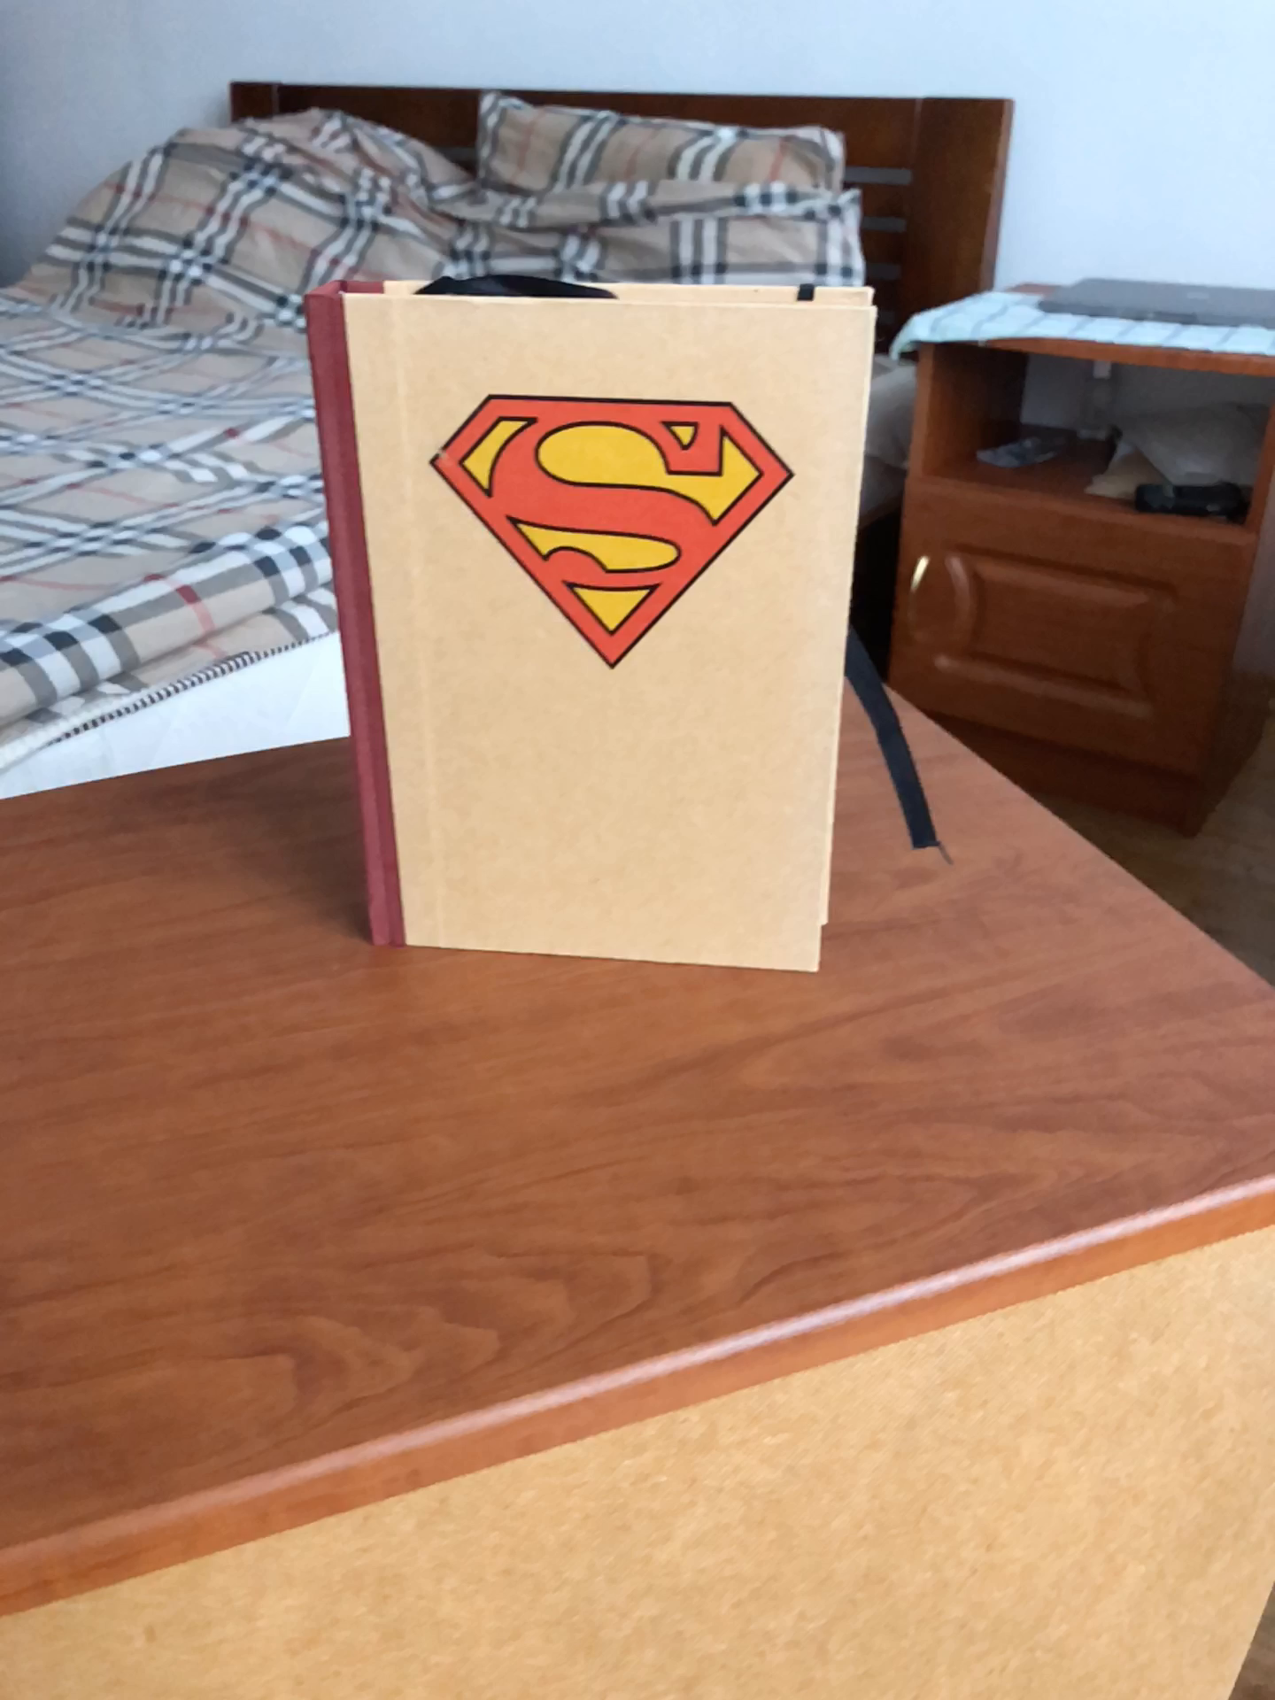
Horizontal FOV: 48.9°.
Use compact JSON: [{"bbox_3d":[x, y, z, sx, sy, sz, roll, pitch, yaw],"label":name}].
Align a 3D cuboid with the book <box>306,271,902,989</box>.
[{"bbox_3d":[-0.008,-0.059,0.426,0.154,0.212,0.032,3,30,5],"label":"book"}]
